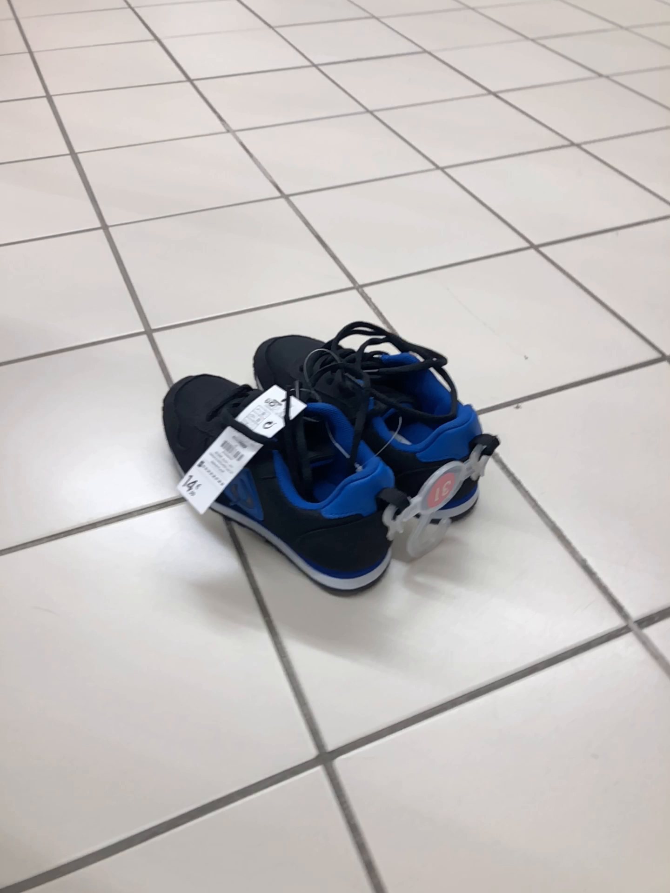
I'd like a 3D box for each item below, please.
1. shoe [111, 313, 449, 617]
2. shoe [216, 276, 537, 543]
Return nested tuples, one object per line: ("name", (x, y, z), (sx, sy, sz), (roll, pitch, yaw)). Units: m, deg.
("shoe", (-0.041, 0.002, 0.479), (0.212, 0.071, 0.085), (33, 52, 29))
("shoe", (0.021, -0.036, 0.518), (0.085, 0.061, 0.217), (-34, 54, -31))
